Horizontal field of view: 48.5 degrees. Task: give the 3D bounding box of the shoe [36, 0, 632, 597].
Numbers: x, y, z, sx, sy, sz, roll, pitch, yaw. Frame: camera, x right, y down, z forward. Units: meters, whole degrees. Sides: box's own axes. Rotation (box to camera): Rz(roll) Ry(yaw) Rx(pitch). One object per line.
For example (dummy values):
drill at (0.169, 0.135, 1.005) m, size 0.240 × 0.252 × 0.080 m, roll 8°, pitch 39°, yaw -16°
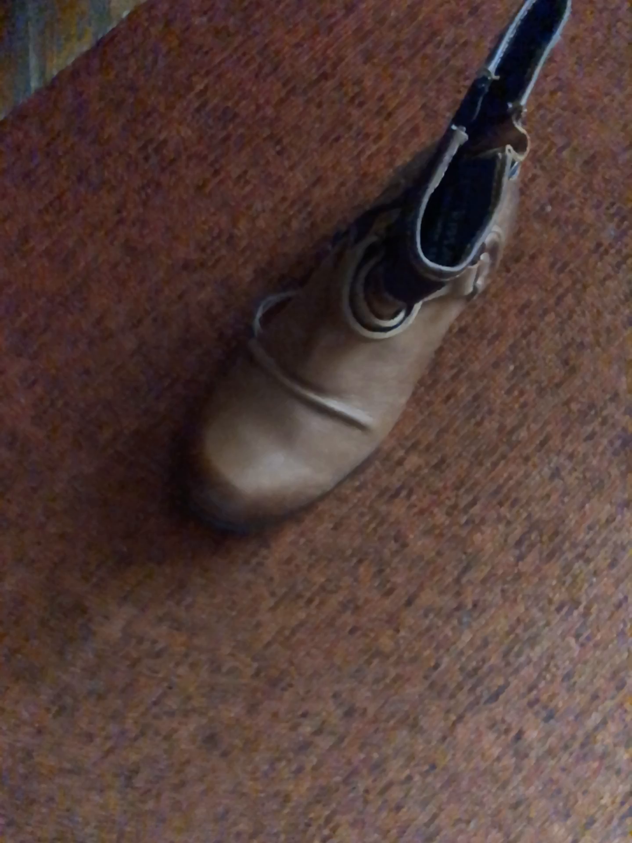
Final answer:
shoe at (0.022, -0.062, 0.374) m, size 0.110 × 0.190 × 0.280 m, roll 37°, pitch 81°, yaw 5°
